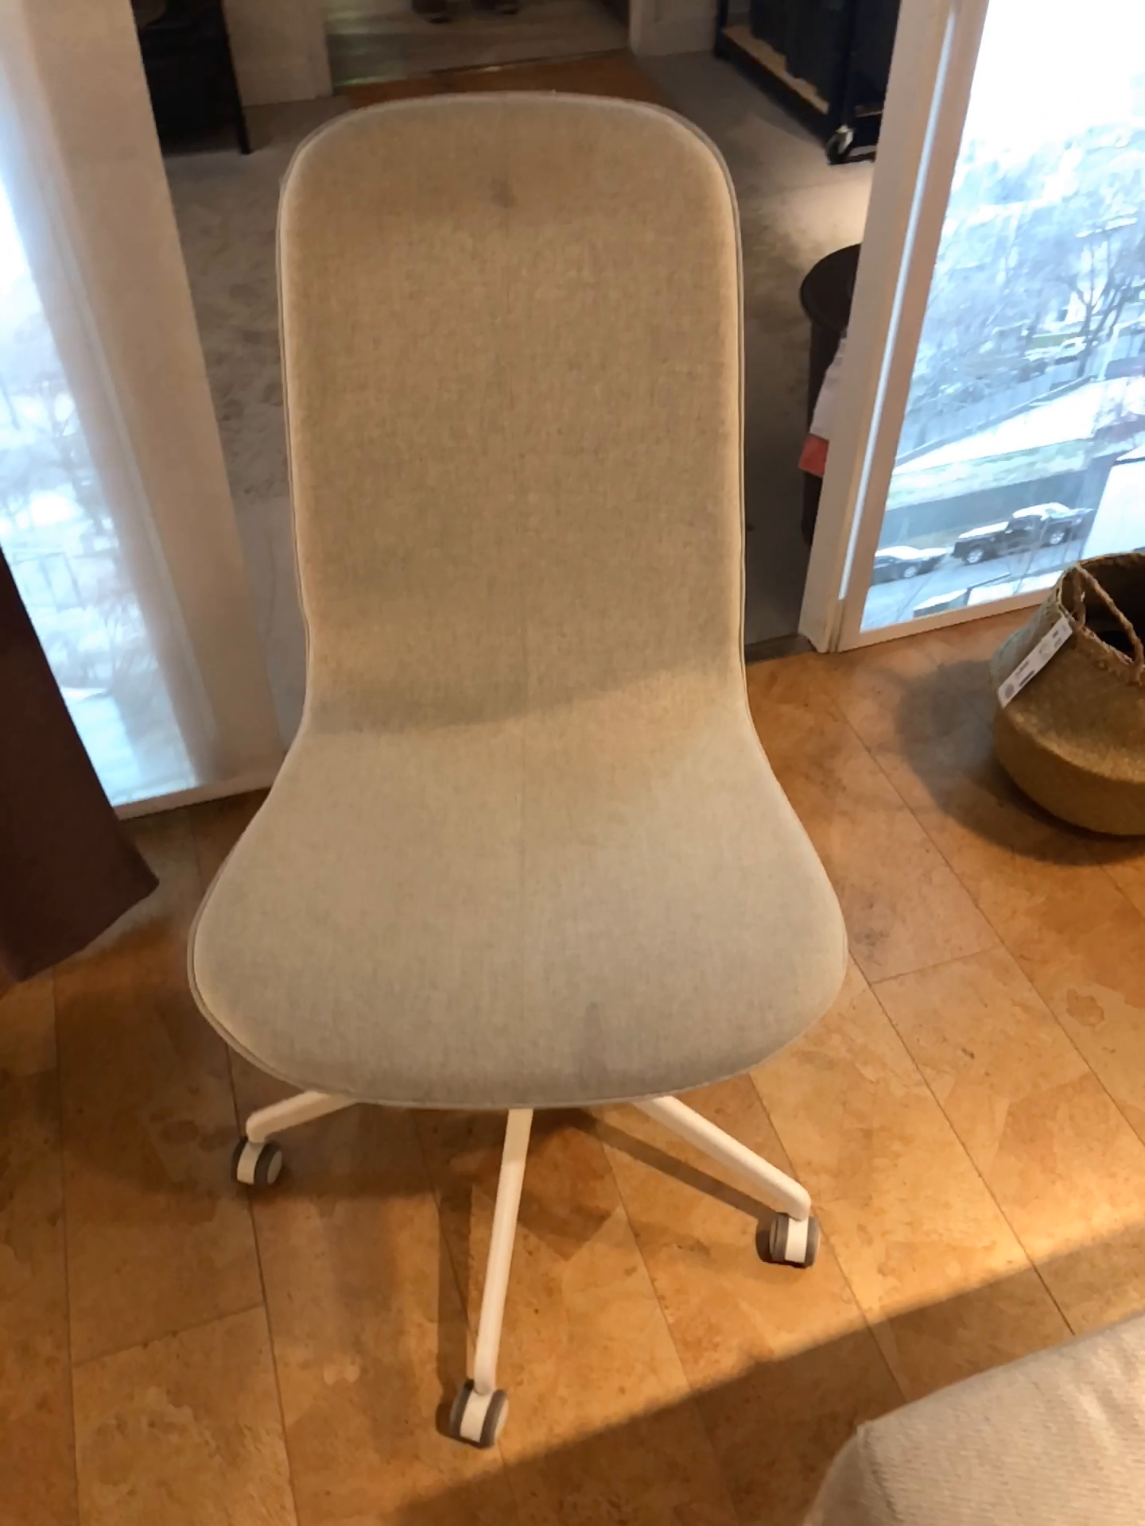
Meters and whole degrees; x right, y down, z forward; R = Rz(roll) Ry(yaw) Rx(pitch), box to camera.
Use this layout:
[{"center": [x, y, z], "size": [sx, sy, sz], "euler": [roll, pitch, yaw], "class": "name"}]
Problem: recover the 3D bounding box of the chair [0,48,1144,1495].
[{"center": [-0.080, 0.046, 1.049], "size": [0.670, 0.937, 0.692], "euler": [-5, 46, -4], "class": "chair"}]
